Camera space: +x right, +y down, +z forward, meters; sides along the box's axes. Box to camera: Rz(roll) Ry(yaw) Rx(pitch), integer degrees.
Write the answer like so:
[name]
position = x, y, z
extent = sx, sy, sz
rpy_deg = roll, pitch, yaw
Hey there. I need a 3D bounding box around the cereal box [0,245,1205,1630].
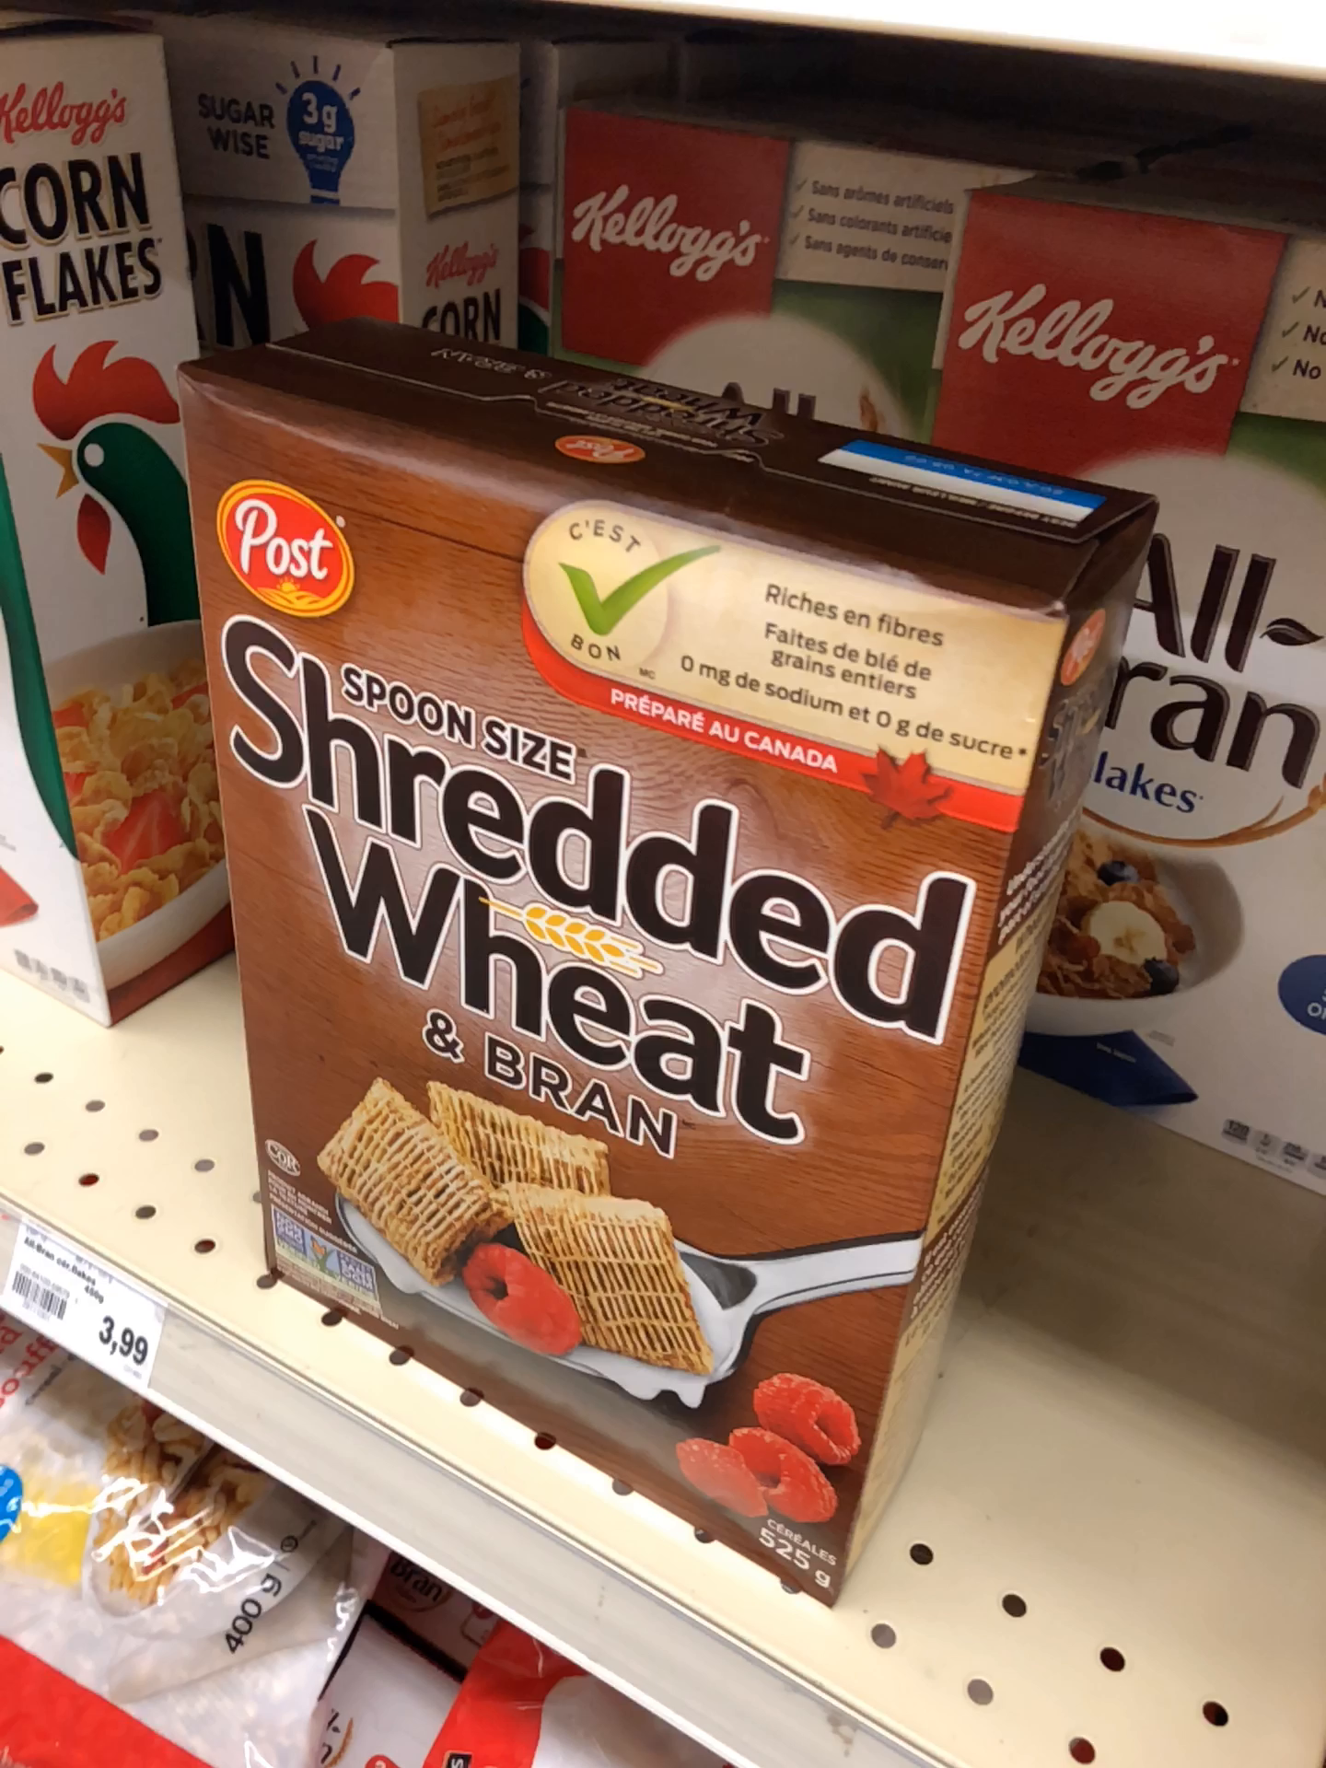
[cereal box]
position = -0.025, 0.011, 0.327
extent = 0.210, 0.248, 0.070
rpy_deg = 21, 37, 25
